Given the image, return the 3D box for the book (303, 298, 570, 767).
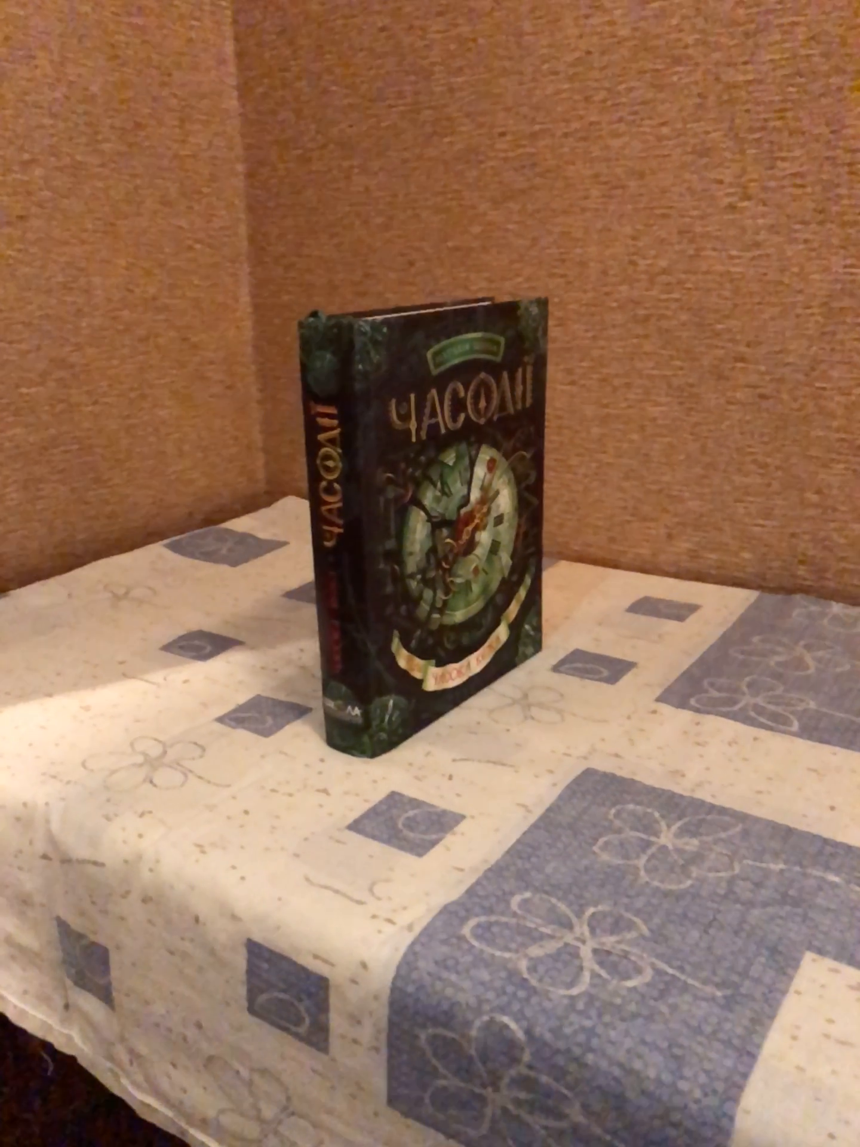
[{"bbox_3d":[0.013,-0.034,0.510,0.040,0.216,0.173,11,21,36],"label":"book"}]
